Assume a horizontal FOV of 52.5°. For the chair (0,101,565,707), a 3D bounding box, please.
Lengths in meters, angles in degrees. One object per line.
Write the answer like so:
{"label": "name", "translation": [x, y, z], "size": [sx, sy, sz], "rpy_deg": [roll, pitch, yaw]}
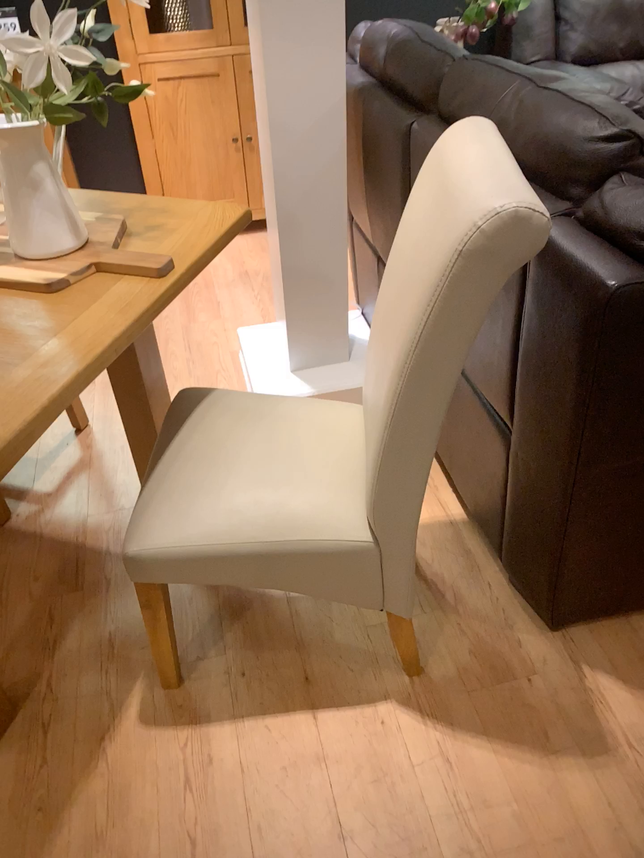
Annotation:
{"label": "chair", "translation": [-0.045, 0.010, 1.146], "size": [0.634, 0.943, 0.480], "rpy_deg": [0, 39, 4]}
